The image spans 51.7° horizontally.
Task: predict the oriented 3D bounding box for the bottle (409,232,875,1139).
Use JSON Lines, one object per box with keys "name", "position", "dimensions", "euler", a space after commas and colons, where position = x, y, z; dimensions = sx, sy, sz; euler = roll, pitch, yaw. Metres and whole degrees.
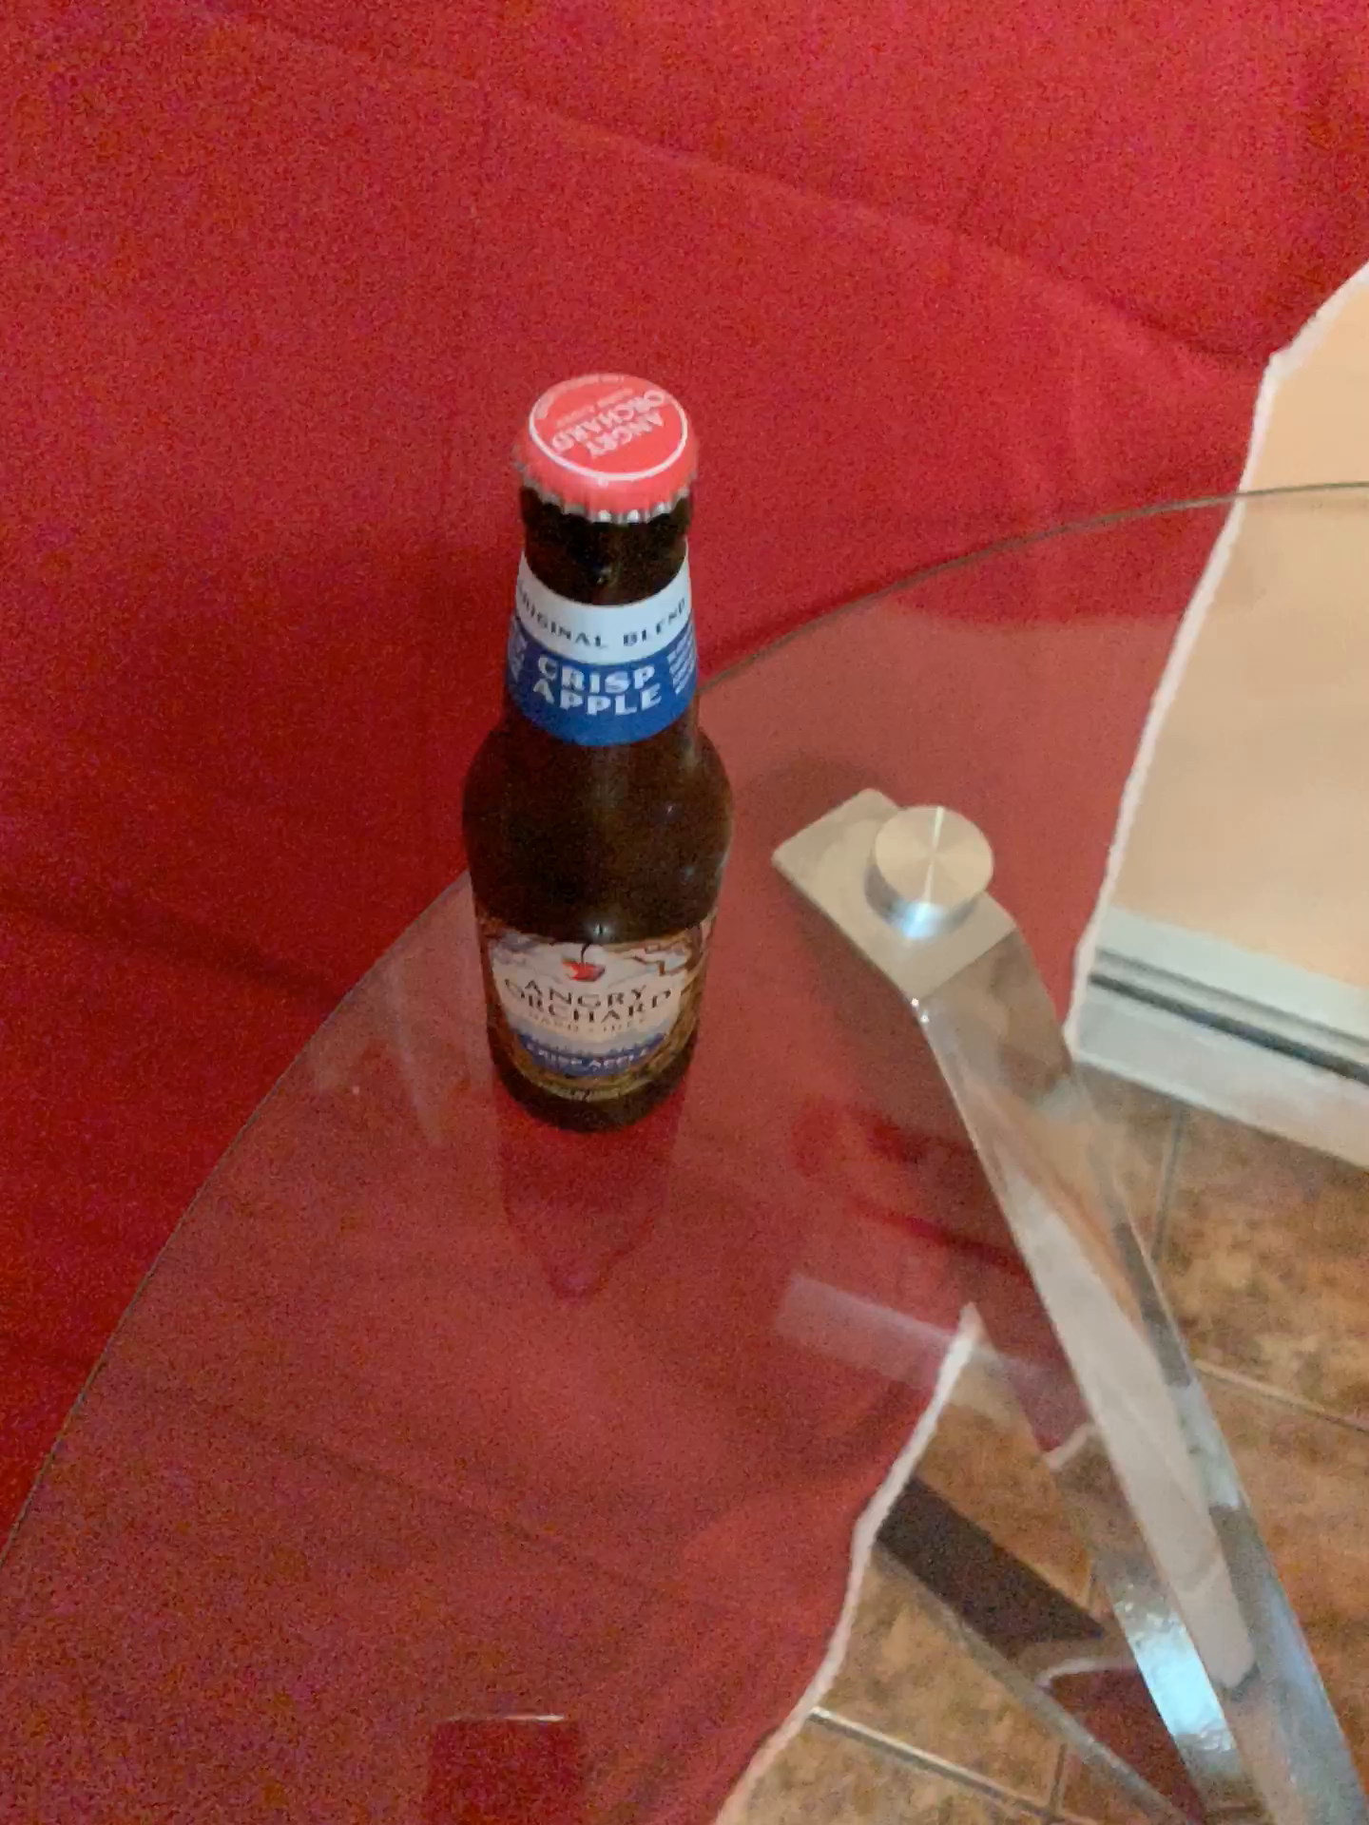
{"name": "bottle", "position": [-0.016, -0.026, 0.328], "dimensions": [0.070, 0.231, 0.070], "euler": [3, 58, -4]}
